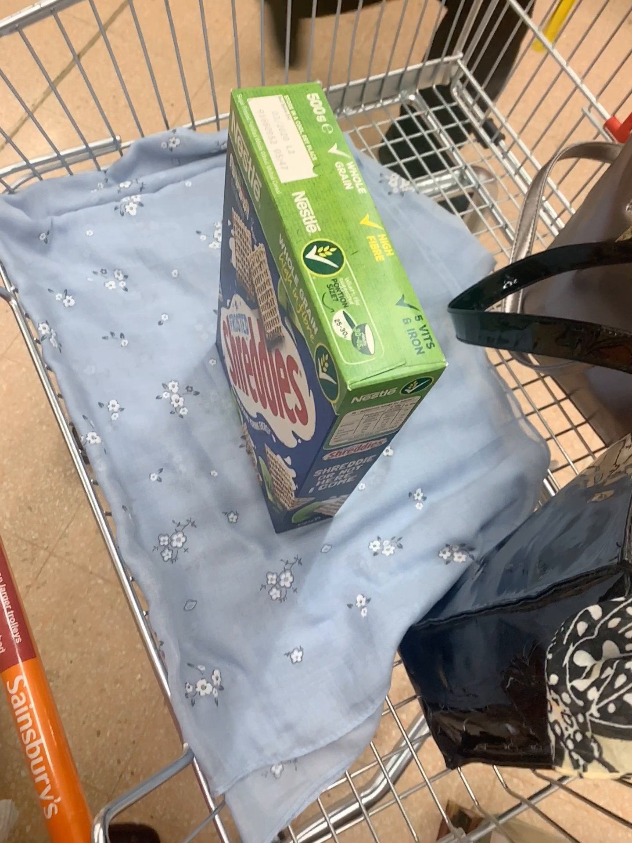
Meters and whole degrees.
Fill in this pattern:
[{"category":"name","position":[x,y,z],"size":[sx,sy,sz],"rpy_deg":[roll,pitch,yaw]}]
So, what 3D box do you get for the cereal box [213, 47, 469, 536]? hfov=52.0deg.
[{"category":"cereal box","position":[-0.013,-0.055,0.448],"size":[0.060,0.289,0.201],"rpy_deg":[-16,72,-15]}]
